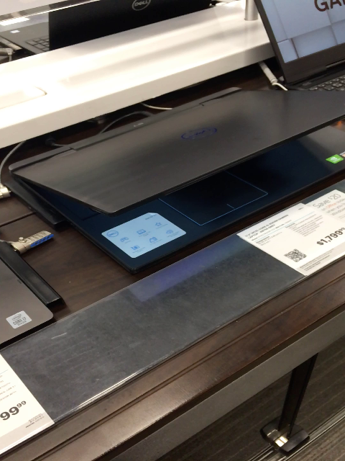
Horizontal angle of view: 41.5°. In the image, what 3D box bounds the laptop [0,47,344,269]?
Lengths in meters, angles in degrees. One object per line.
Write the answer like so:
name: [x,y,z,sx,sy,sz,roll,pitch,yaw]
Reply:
laptop: [0.030,-0.132,0.647,0.422,0.085,0.271,-28,49,-23]
